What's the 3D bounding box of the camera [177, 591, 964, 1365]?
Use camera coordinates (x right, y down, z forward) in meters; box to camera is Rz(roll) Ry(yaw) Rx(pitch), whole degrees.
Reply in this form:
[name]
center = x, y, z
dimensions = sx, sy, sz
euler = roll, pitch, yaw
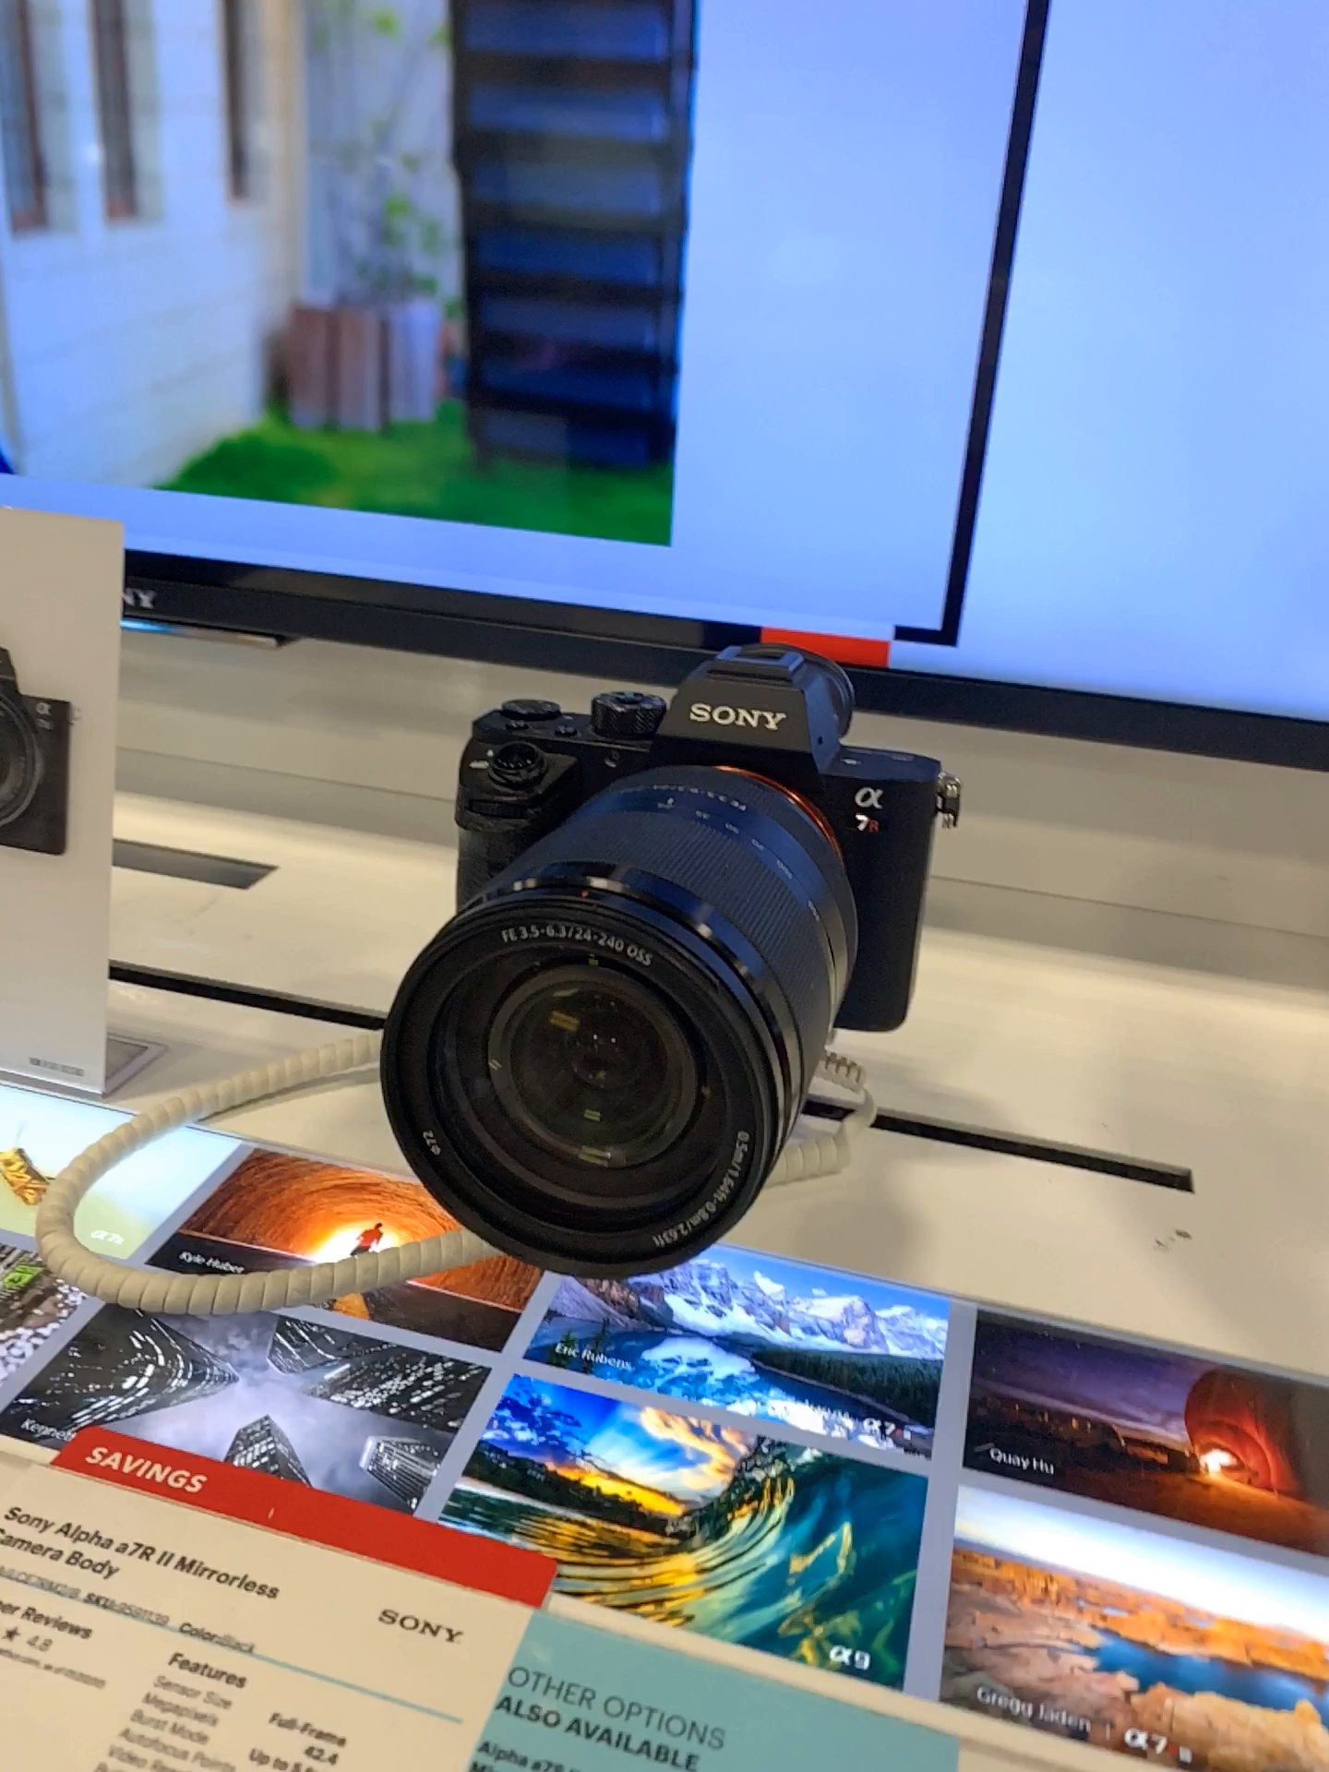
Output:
[camera]
center = -0.002, 0.000, 0.318
dimensions = 0.128, 0.091, 0.185
euler = 7, 23, 10
